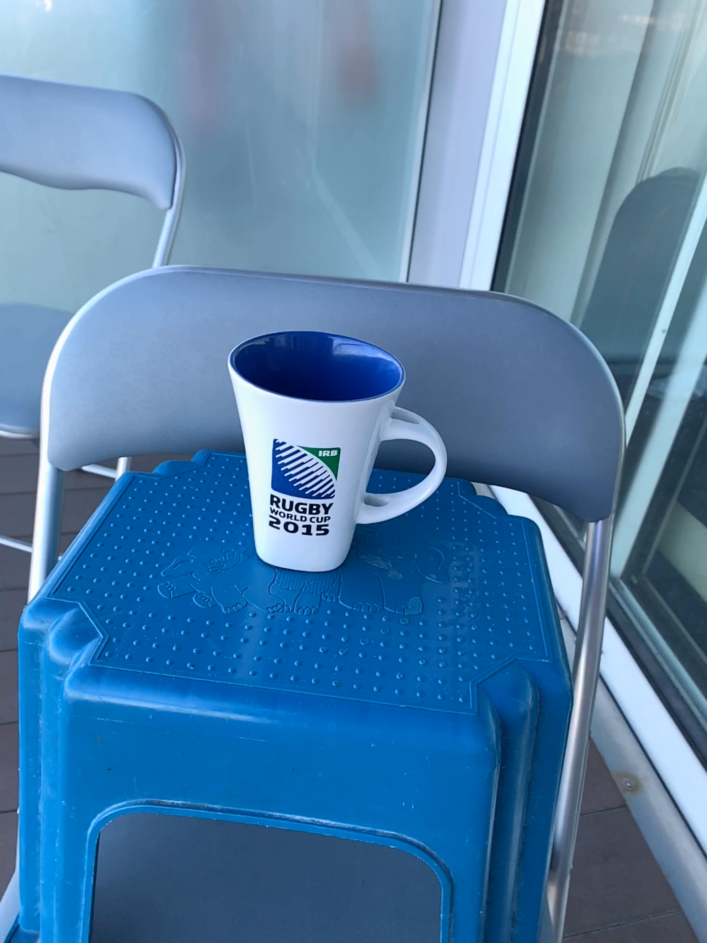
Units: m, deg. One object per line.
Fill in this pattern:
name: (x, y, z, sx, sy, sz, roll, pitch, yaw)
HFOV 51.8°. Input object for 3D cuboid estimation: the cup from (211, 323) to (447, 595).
cup: (-0.012, -0.008, 0.388, 0.107, 0.105, 0.083, 6, 33, 1)
